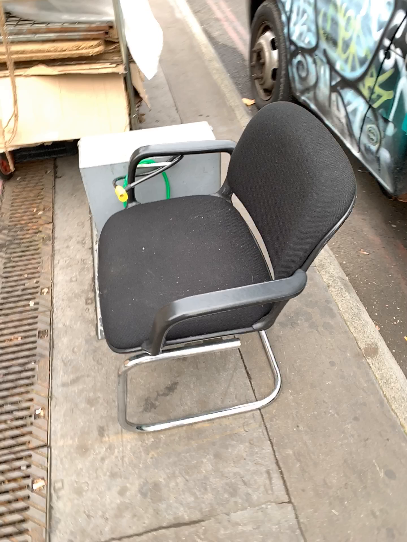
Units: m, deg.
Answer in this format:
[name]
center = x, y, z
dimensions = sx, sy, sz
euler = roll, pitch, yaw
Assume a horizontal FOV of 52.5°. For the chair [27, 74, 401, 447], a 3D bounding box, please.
[chair]
center = -0.026, -0.001, 1.111
dimensions = 0.600, 0.753, 0.565
euler = -9, 50, -8
